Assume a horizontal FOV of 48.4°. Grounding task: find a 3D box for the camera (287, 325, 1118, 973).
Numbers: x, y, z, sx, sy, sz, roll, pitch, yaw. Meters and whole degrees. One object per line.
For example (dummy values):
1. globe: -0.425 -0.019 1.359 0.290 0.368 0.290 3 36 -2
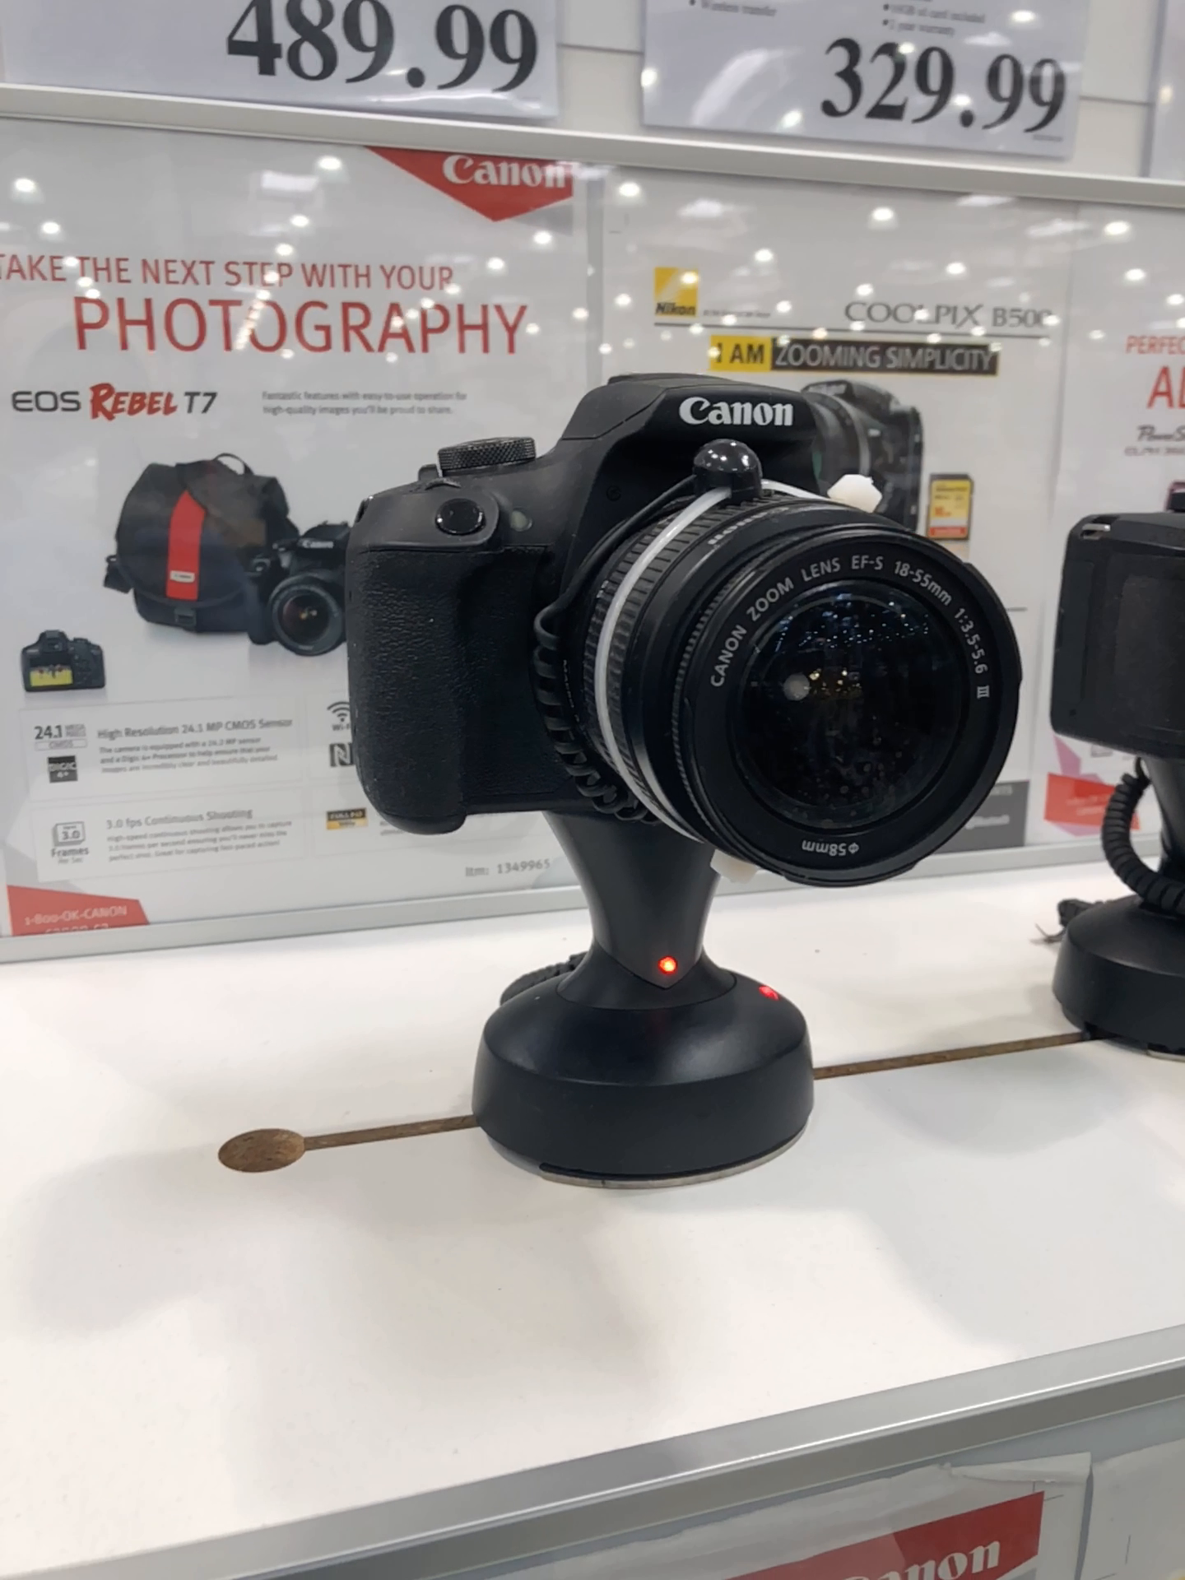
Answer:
1. camera: 0.012 -0.038 0.279 0.130 0.100 0.120 -5 14 -19
